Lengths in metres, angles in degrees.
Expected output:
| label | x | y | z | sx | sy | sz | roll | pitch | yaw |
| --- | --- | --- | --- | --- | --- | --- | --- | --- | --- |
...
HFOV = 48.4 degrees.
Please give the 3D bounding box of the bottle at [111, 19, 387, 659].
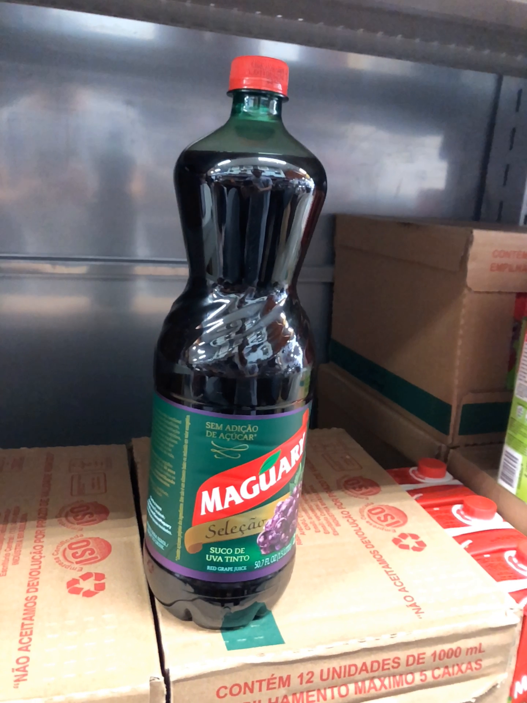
| label | x | y | z | sx | sy | sz | roll | pitch | yaw |
| --- | --- | --- | --- | --- | --- | --- | --- | --- | --- |
| bottle | -0.017 | -0.001 | 0.316 | 0.100 | 0.289 | 0.080 | -5 | 17 | -33 |
